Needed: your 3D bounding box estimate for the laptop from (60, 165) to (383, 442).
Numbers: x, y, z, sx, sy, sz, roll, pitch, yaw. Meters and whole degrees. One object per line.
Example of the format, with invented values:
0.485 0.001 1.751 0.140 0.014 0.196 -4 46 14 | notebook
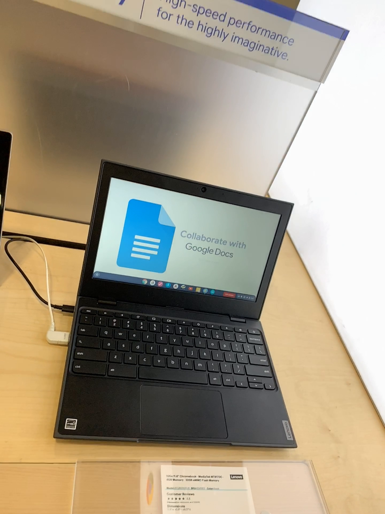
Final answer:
0.012 0.052 0.491 0.275 0.170 0.267 10 38 -14 | laptop
